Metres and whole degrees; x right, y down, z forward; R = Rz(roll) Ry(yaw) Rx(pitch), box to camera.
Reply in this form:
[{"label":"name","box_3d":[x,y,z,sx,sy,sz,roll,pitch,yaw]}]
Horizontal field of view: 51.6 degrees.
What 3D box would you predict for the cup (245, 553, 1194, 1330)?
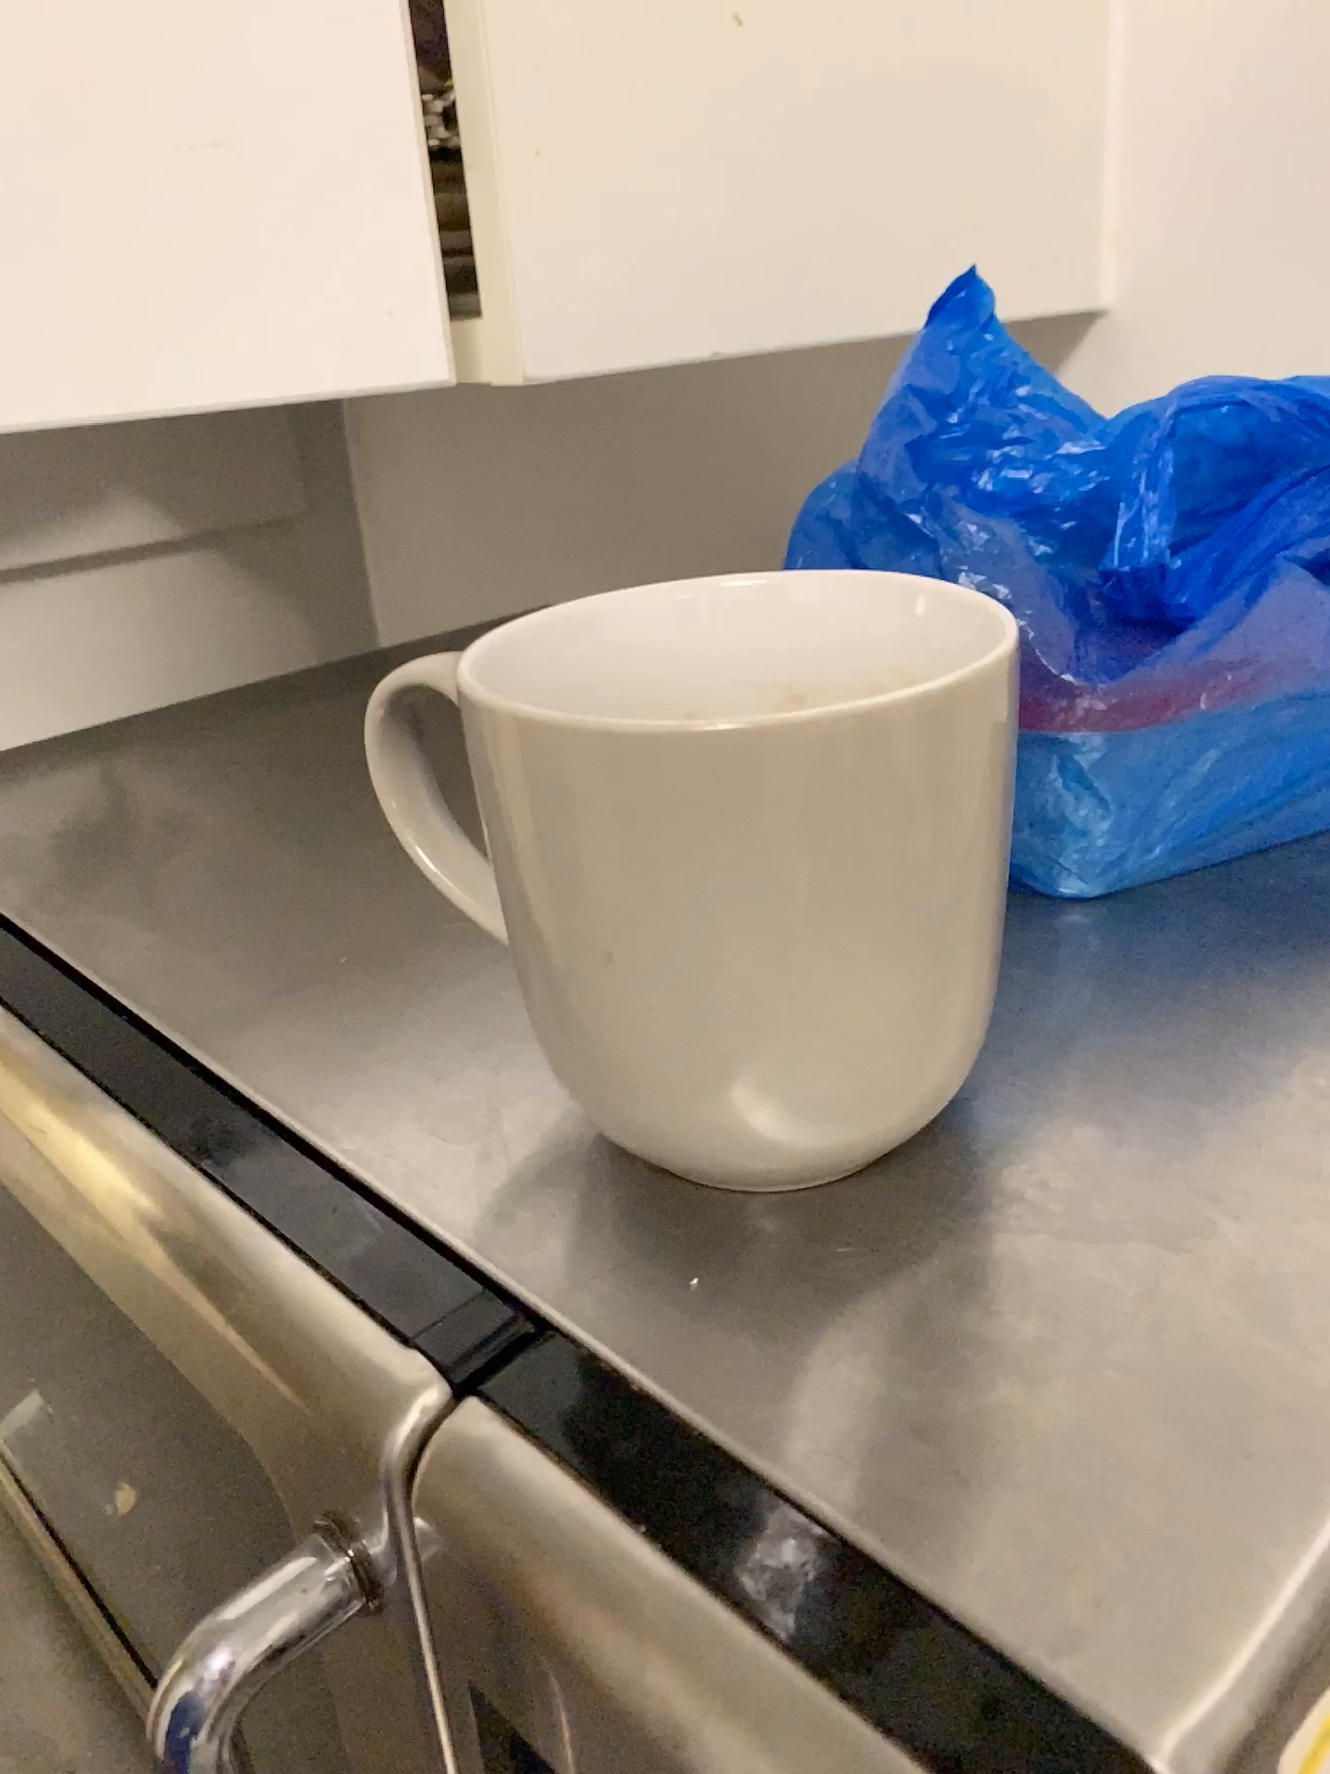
[{"label":"cup","box_3d":[0.008,-0.007,0.242,0.094,0.077,0.129,-26,29,-37]}]
